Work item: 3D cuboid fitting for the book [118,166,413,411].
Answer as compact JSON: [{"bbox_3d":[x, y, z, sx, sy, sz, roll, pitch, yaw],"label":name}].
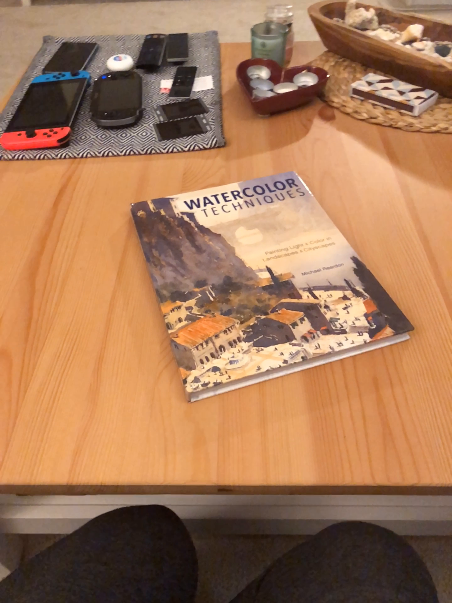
[{"bbox_3d":[0.020,-0.039,0.515,0.213,0.020,0.280,-14,48,-11],"label":"book"}]
